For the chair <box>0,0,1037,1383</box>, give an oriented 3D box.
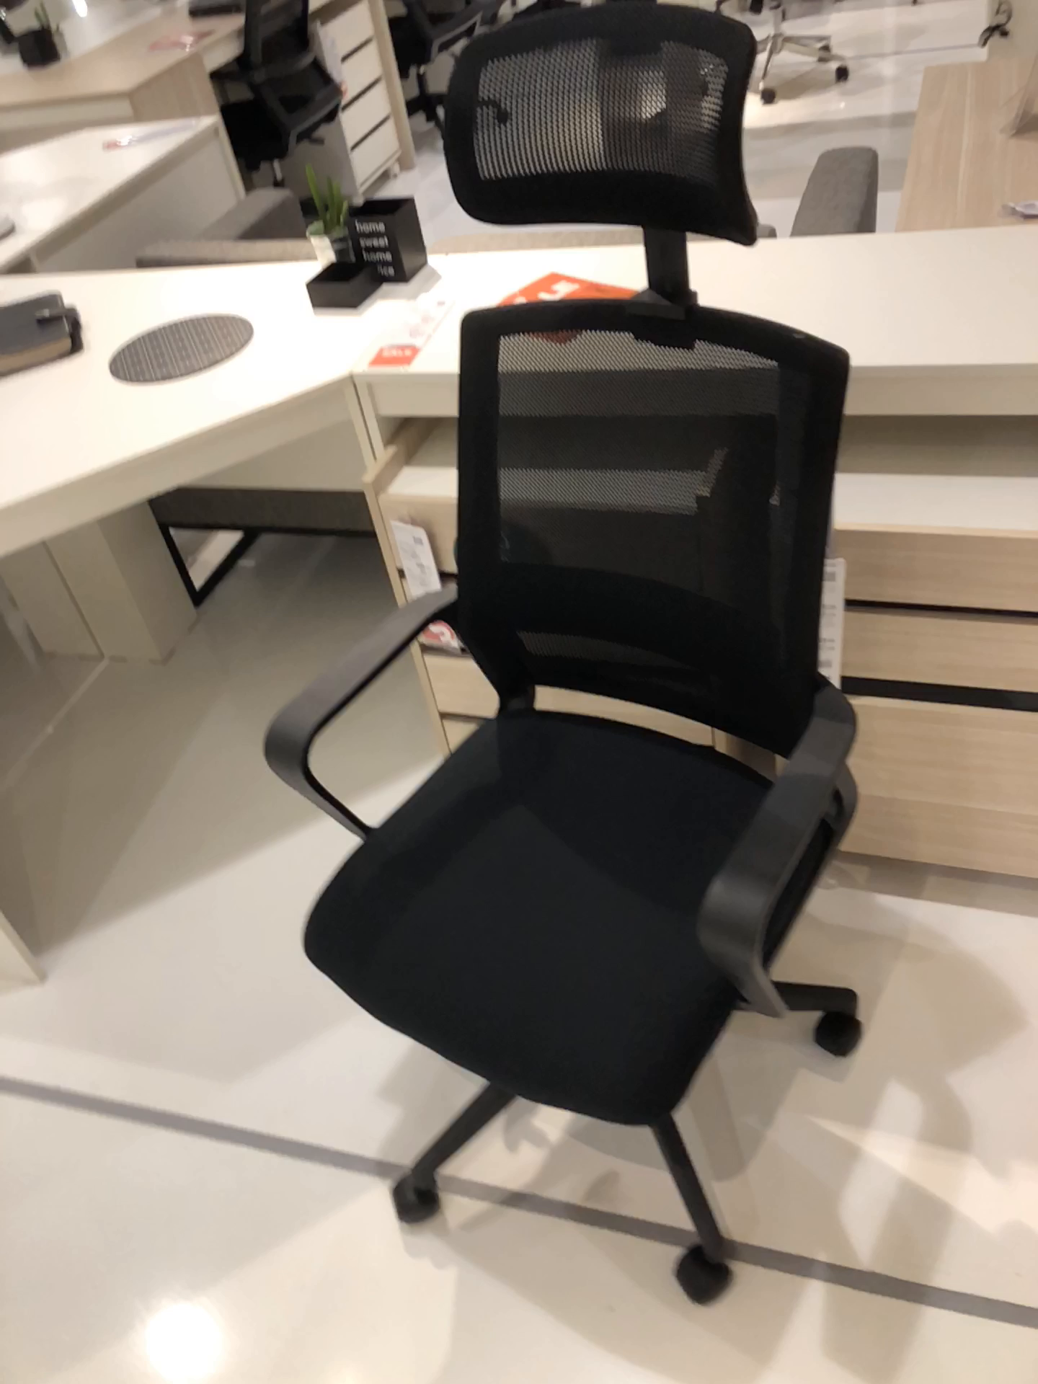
[{"bbox_3d":[0.017,0.036,1.105,0.662,1.131,0.663,15,48,30],"label":"chair"}]
